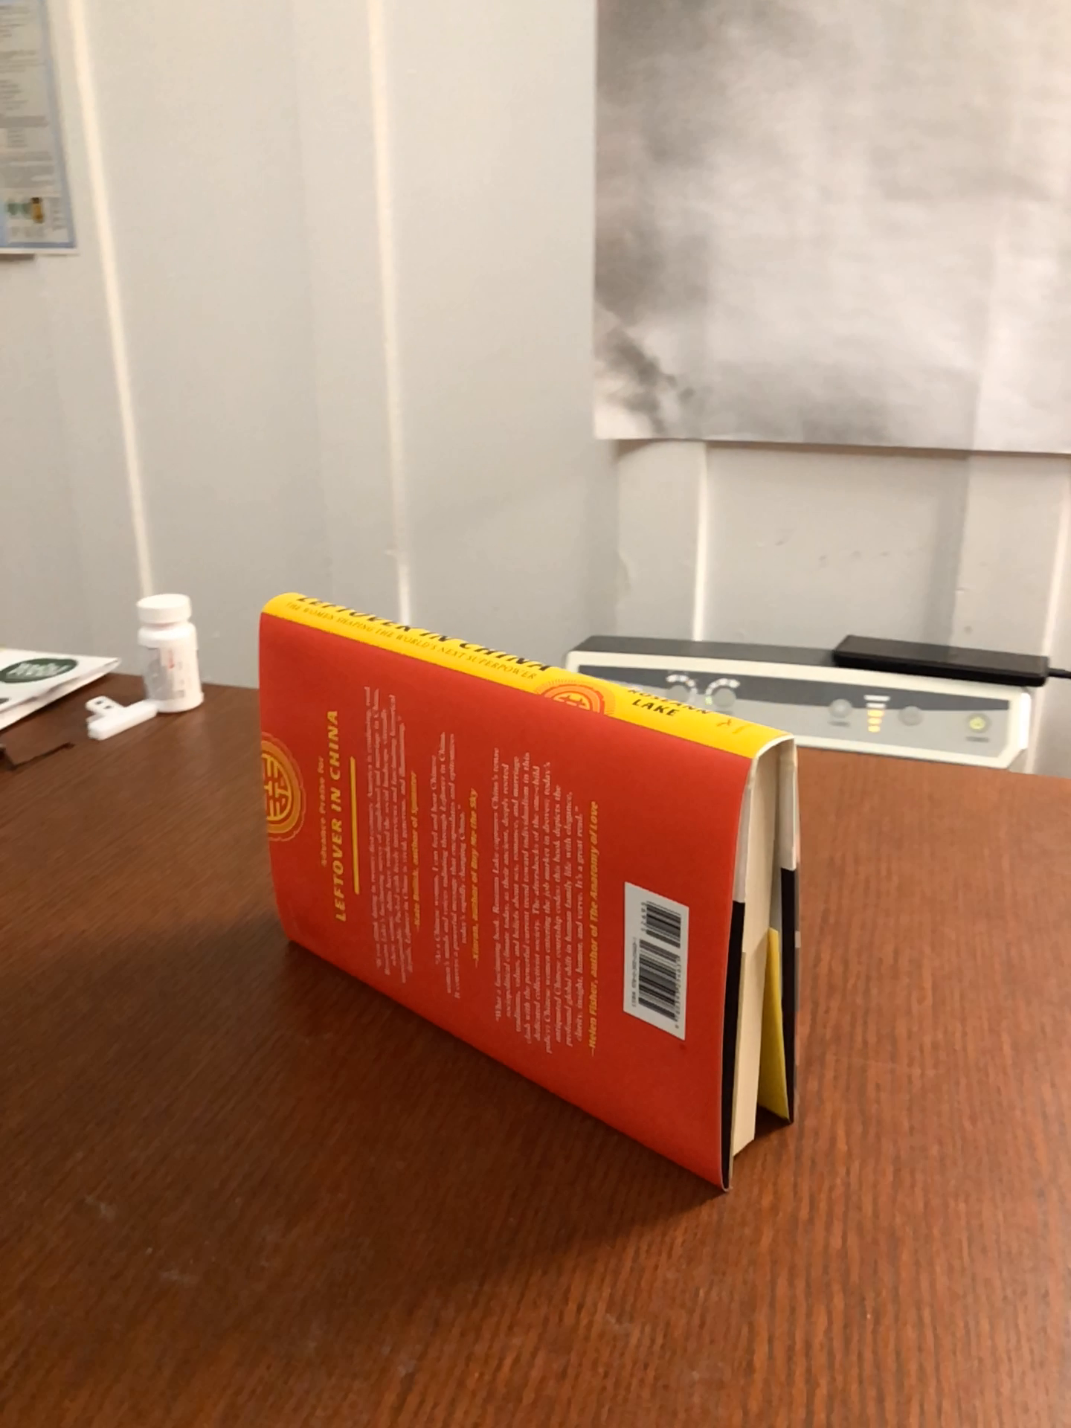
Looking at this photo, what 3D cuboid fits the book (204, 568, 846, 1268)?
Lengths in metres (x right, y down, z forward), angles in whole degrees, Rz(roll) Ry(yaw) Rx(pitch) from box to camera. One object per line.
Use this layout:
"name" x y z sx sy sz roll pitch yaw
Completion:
"book" -0.020 0.057 0.457 0.260 0.179 0.060 18 26 39
